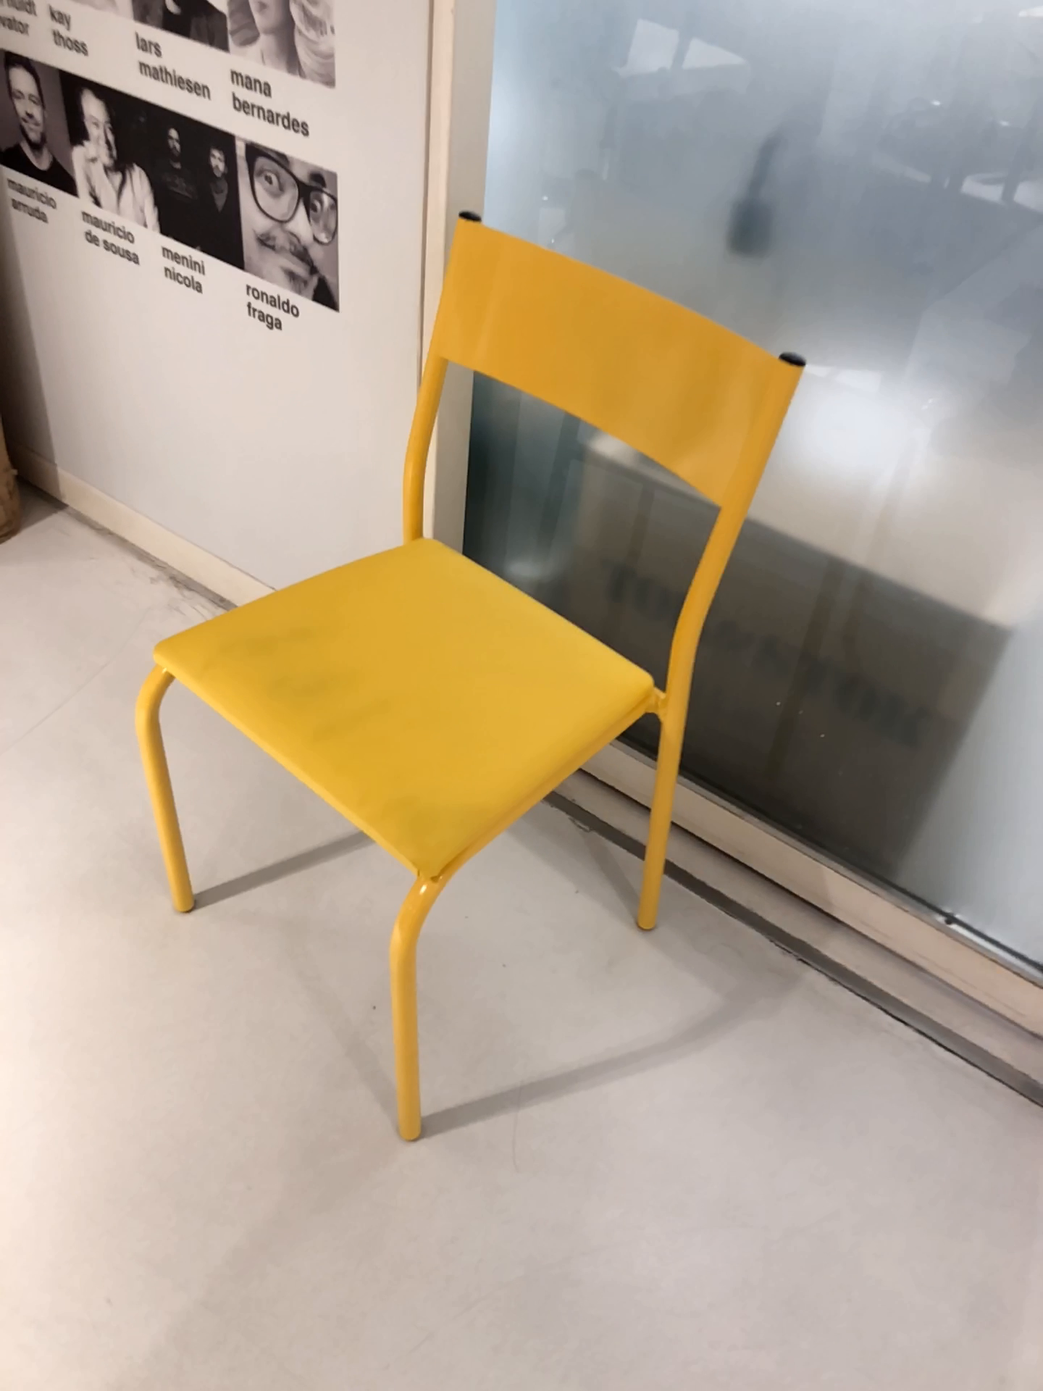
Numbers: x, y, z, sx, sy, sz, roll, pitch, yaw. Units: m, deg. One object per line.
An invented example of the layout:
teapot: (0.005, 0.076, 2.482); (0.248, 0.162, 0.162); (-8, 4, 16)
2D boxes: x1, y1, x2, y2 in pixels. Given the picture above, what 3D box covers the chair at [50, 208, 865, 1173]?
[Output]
chair: (-0.076, -0.012, 1.255); (0.492, 0.784, 0.522); (34, 48, 28)
